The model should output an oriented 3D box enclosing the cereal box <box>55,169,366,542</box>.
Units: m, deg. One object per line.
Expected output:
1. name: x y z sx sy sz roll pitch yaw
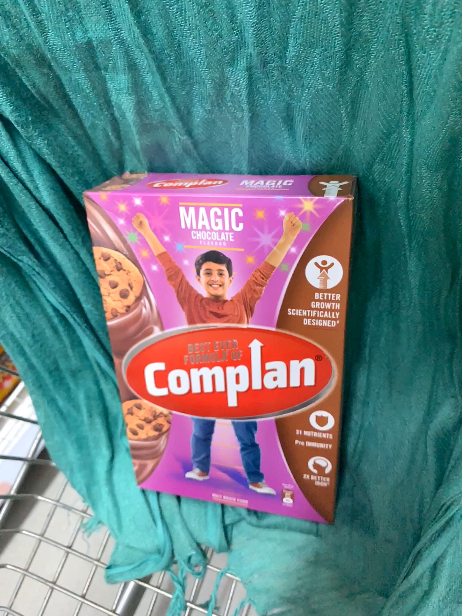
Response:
1. cereal box: -0.006 0.030 0.303 0.160 0.220 0.050 4 25 17
